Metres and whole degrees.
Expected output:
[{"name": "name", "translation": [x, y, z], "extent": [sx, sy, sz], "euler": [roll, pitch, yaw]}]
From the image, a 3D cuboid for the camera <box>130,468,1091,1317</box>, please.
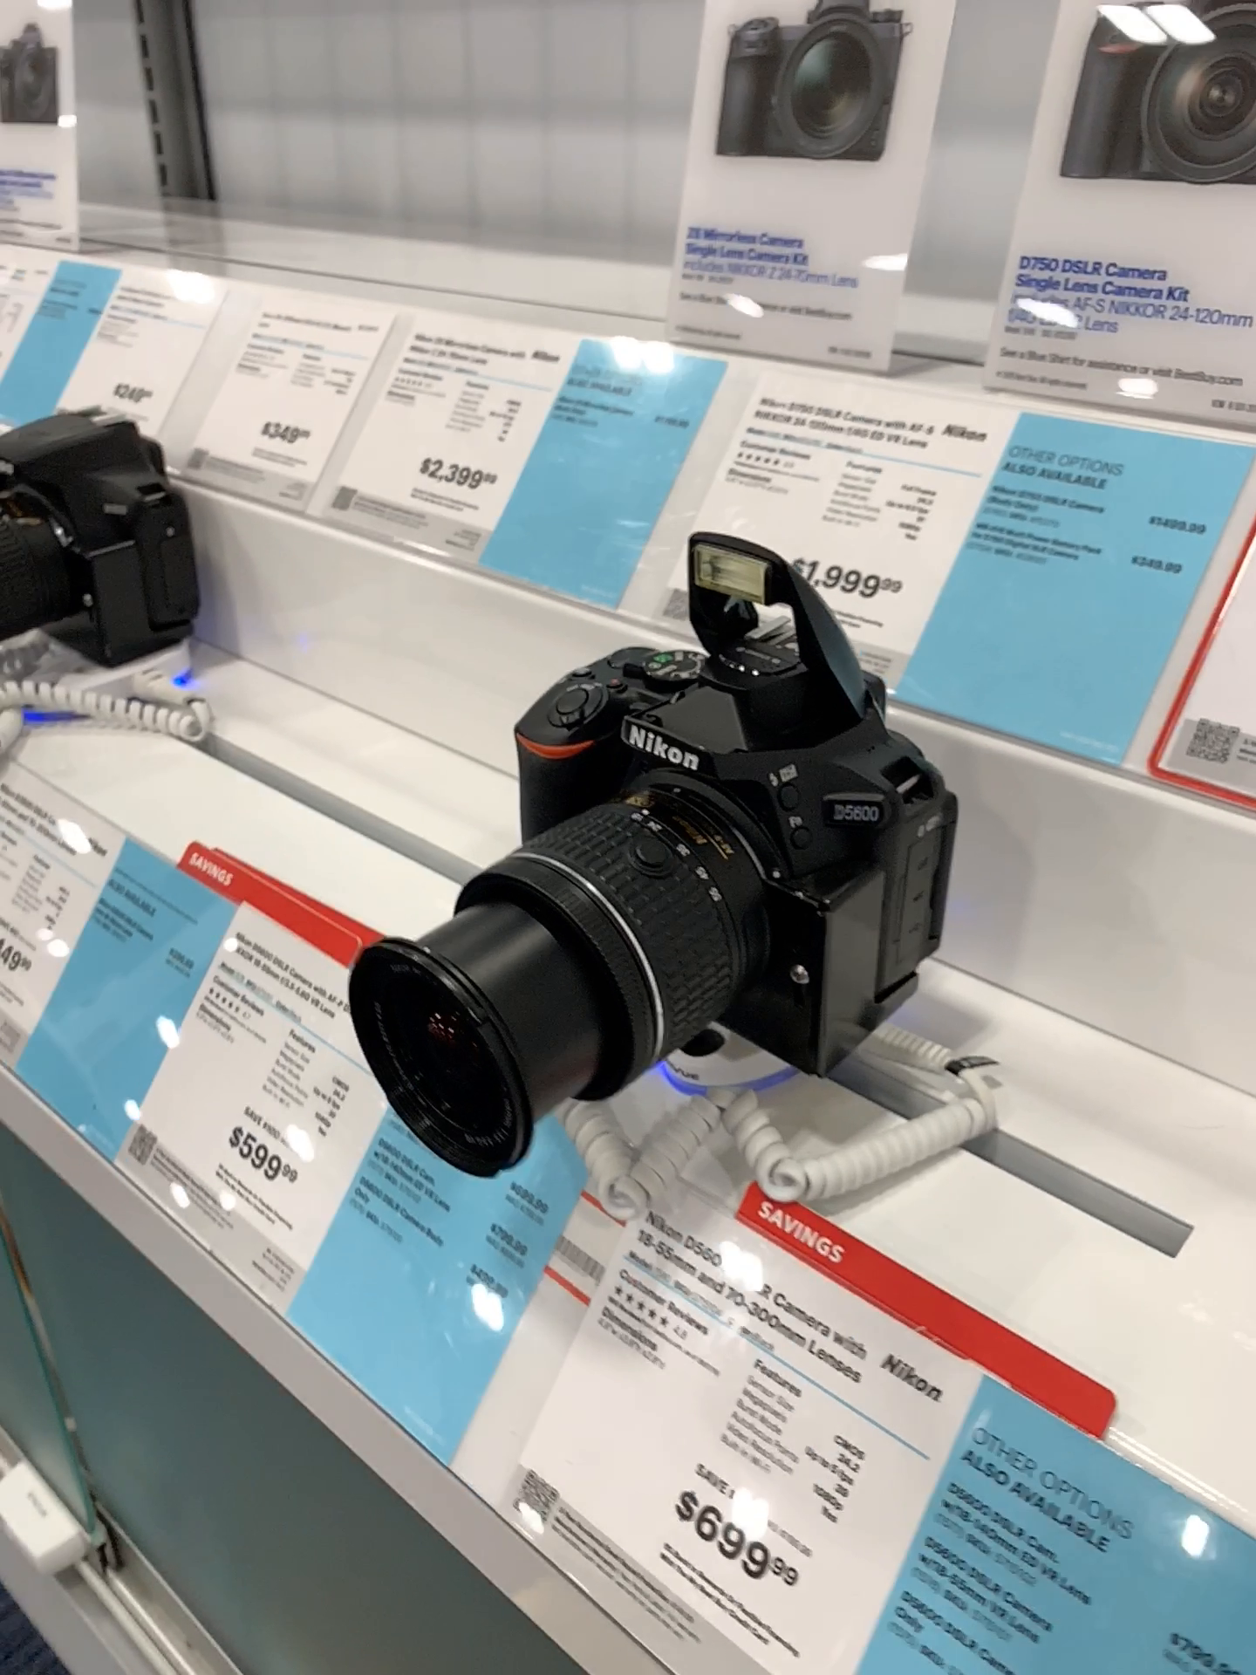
[{"name": "camera", "translation": [0.006, -0.011, 0.335], "extent": [0.140, 0.109, 0.191], "euler": [21, 35, 32]}]
